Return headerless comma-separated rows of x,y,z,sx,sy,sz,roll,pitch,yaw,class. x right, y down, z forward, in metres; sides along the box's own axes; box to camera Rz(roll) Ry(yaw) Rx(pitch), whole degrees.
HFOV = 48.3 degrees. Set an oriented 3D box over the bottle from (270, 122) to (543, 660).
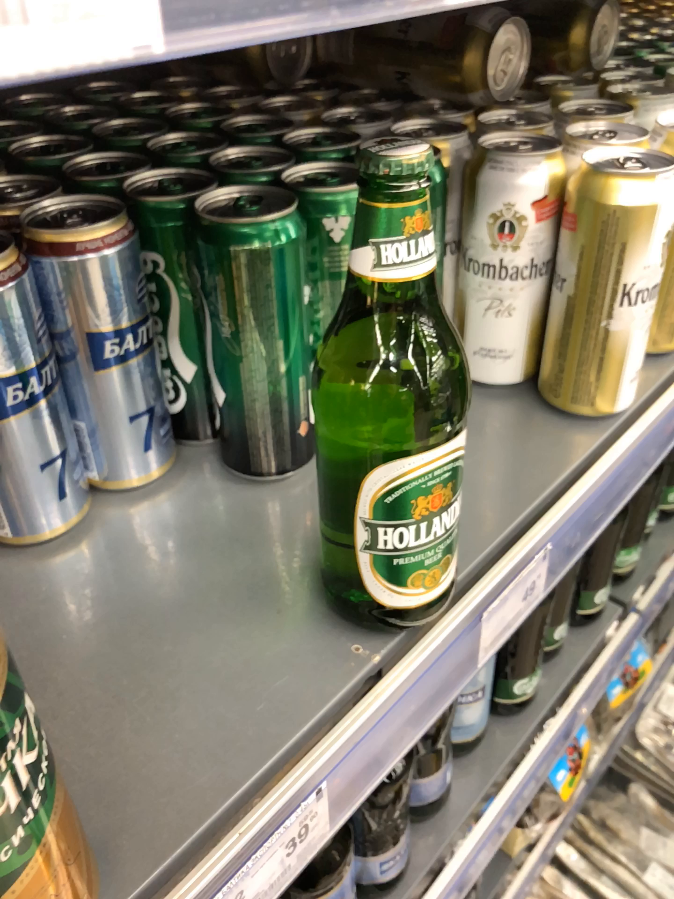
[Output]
0.025,-0.016,0.320,0.070,0.211,0.063,-20,39,-24,bottle
